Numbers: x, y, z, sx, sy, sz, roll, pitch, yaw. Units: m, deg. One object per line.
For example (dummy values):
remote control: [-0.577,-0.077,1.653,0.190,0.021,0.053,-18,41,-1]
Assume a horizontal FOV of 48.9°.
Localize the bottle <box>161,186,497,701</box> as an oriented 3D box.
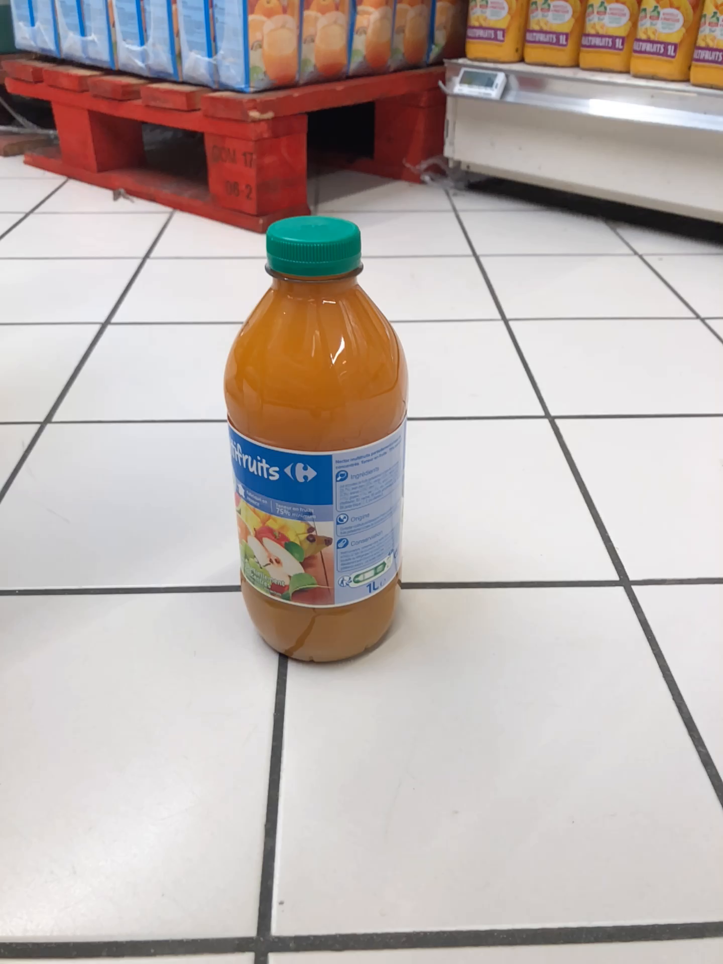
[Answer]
bottle: [-0.014,-0.020,0.390,0.100,0.209,0.101,0,32,0]
